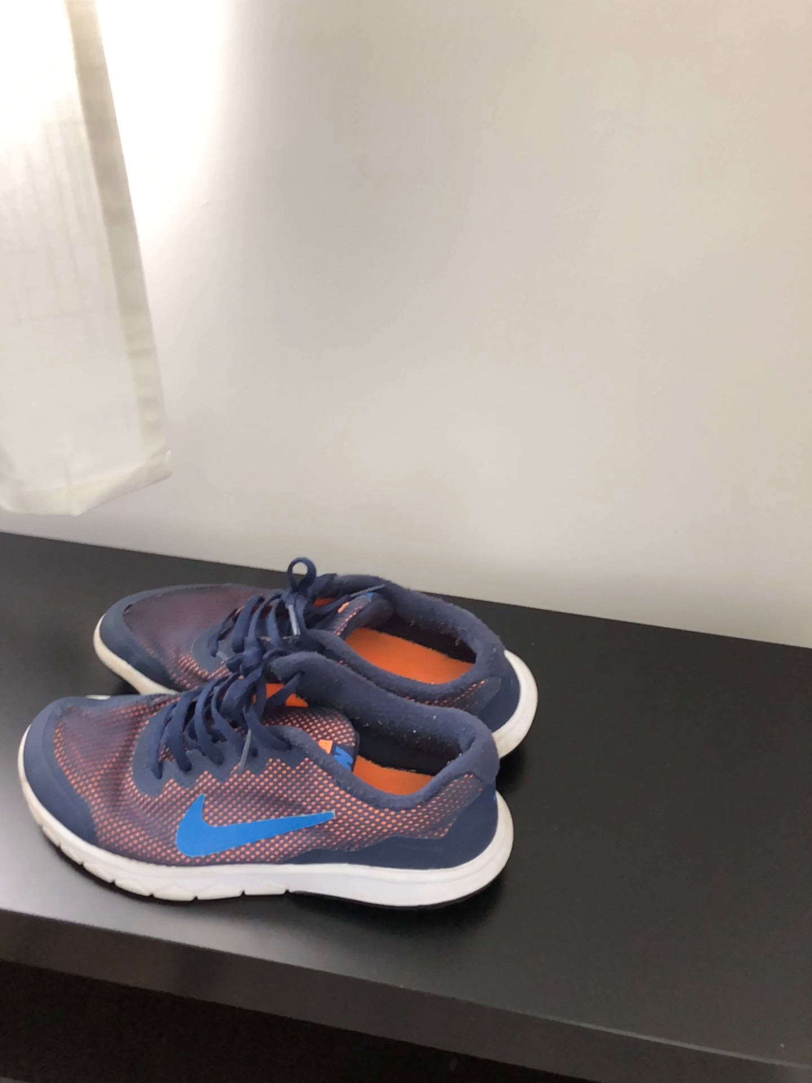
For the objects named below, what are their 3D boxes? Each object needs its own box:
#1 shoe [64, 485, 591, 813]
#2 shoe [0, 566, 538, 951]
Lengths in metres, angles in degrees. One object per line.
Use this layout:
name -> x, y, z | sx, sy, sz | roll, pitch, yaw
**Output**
shoe -> -0.038, 0.054, 0.500 | 0.260, 0.089, 0.100 | 10, 38, 9
shoe -> -0.073, 0.099, 0.435 | 0.260, 0.089, 0.120 | 7, 37, 4
